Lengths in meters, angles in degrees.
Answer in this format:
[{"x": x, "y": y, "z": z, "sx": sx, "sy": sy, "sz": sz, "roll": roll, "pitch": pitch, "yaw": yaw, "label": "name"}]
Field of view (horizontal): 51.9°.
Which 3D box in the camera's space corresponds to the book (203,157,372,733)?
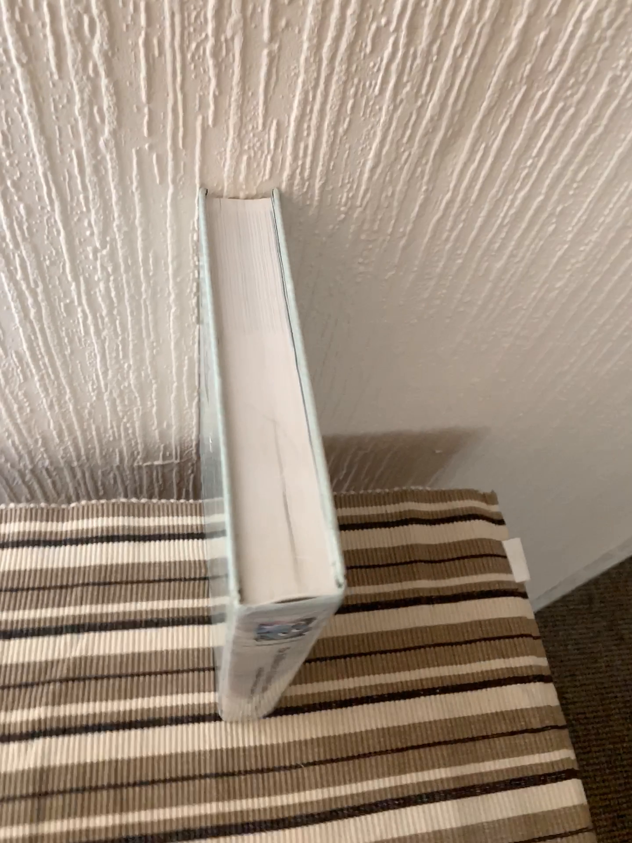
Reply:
[{"x": -0.035, "y": 0.037, "z": 0.352, "sx": 0.040, "sy": 0.258, "sz": 0.211, "roll": -2, "pitch": 60, "yaw": -11, "label": "book"}]
